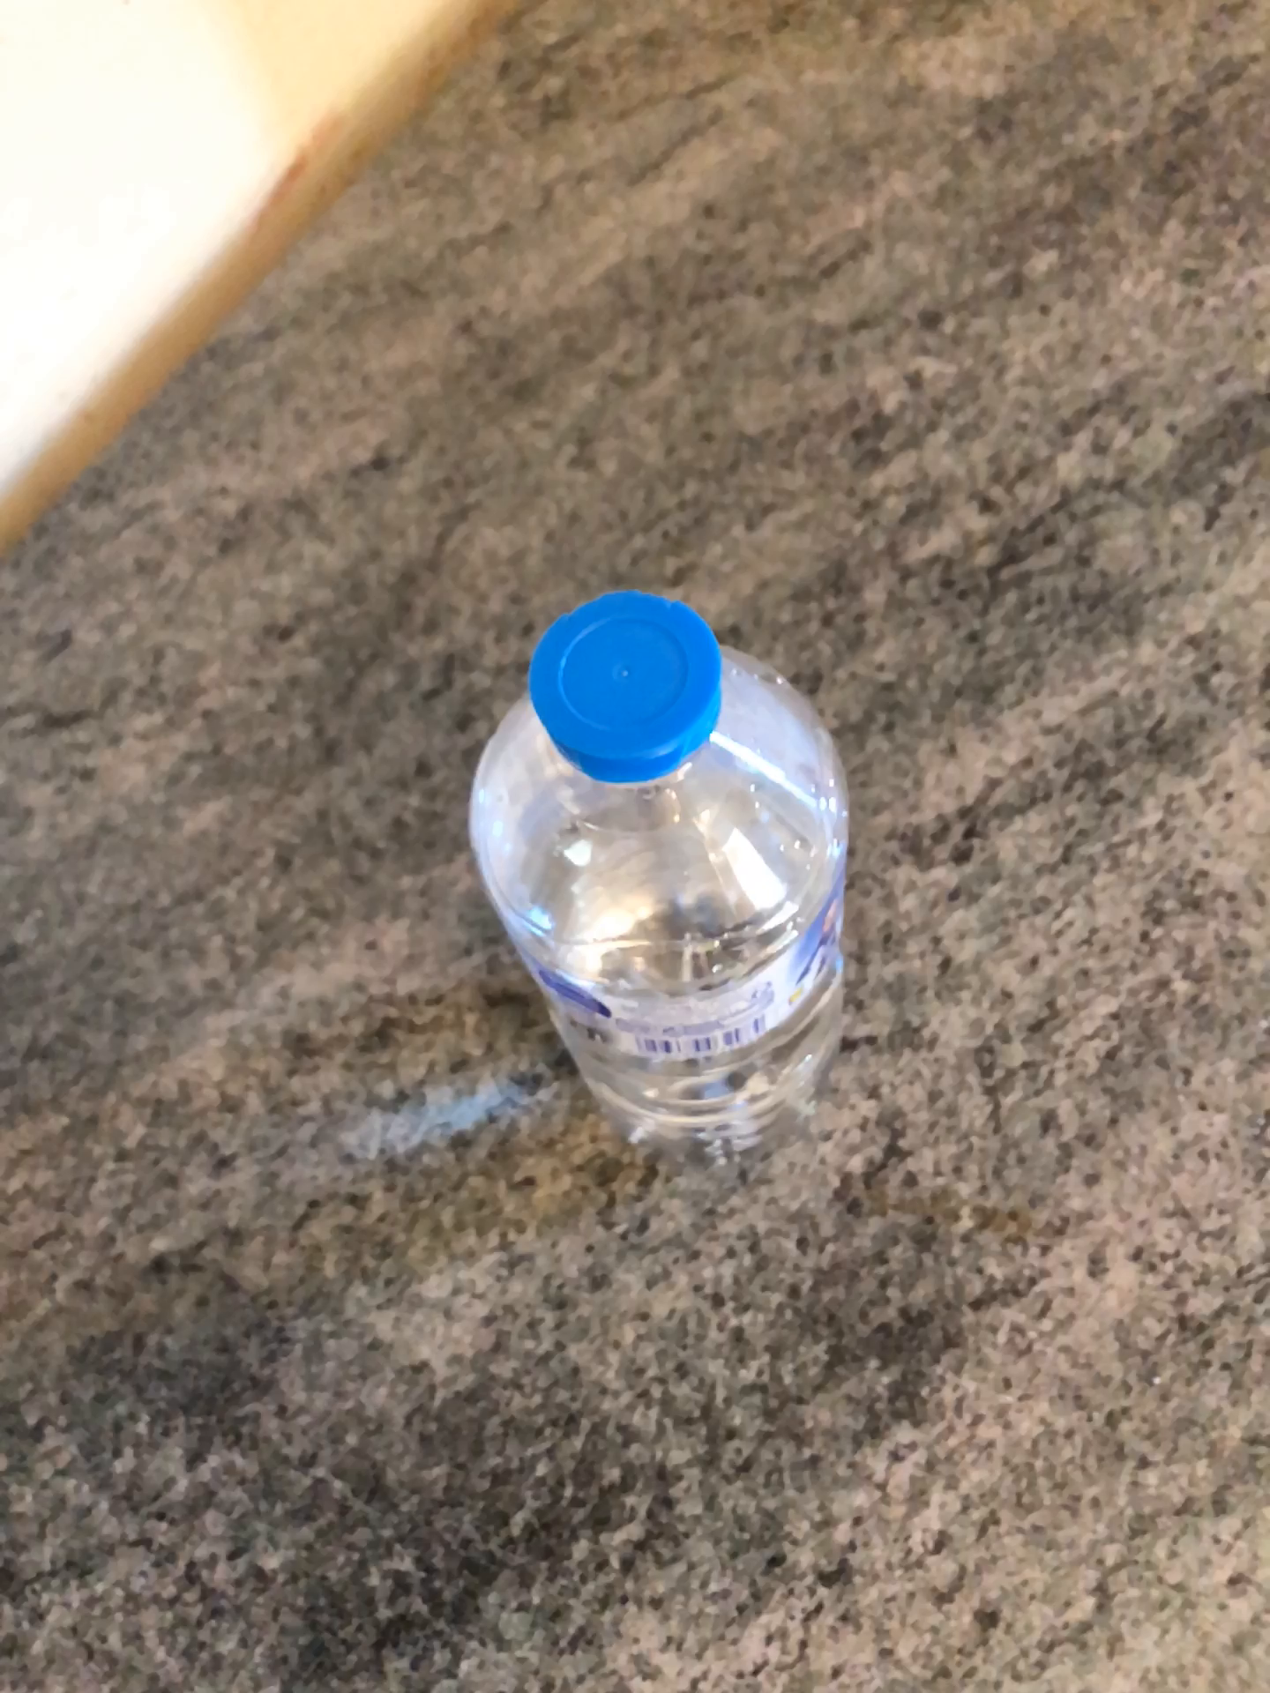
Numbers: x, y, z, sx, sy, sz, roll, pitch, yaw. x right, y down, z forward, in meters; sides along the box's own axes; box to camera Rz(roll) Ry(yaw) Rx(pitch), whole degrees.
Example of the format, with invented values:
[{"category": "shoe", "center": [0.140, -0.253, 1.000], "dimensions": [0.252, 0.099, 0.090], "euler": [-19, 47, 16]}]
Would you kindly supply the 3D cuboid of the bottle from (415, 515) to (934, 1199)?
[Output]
[{"category": "bottle", "center": [0.014, 0.018, 0.282], "dimensions": [0.070, 0.170, 0.070], "euler": [-3, 66, 6]}]
